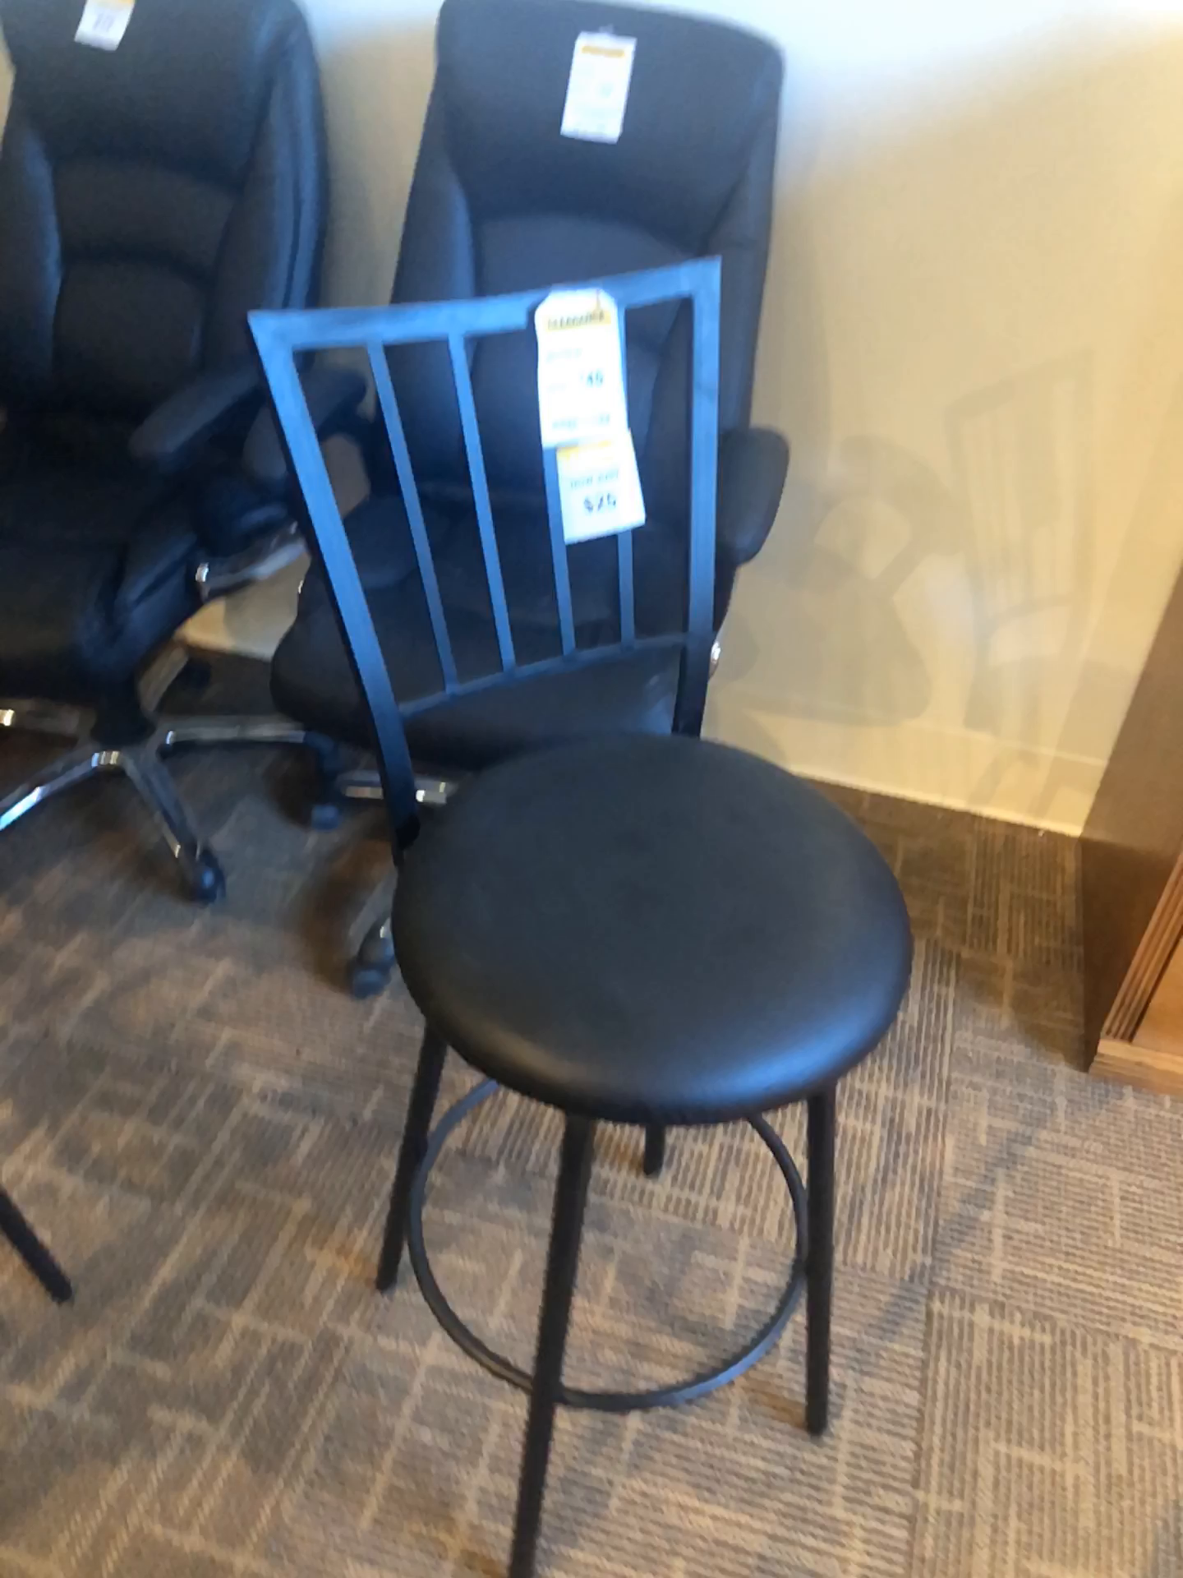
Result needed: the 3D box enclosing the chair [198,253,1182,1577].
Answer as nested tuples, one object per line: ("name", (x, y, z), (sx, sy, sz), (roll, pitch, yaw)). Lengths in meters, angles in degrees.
("chair", (0.010, 0.177, 1.134), (0.431, 1.075, 0.481), (-18, 42, -26))
